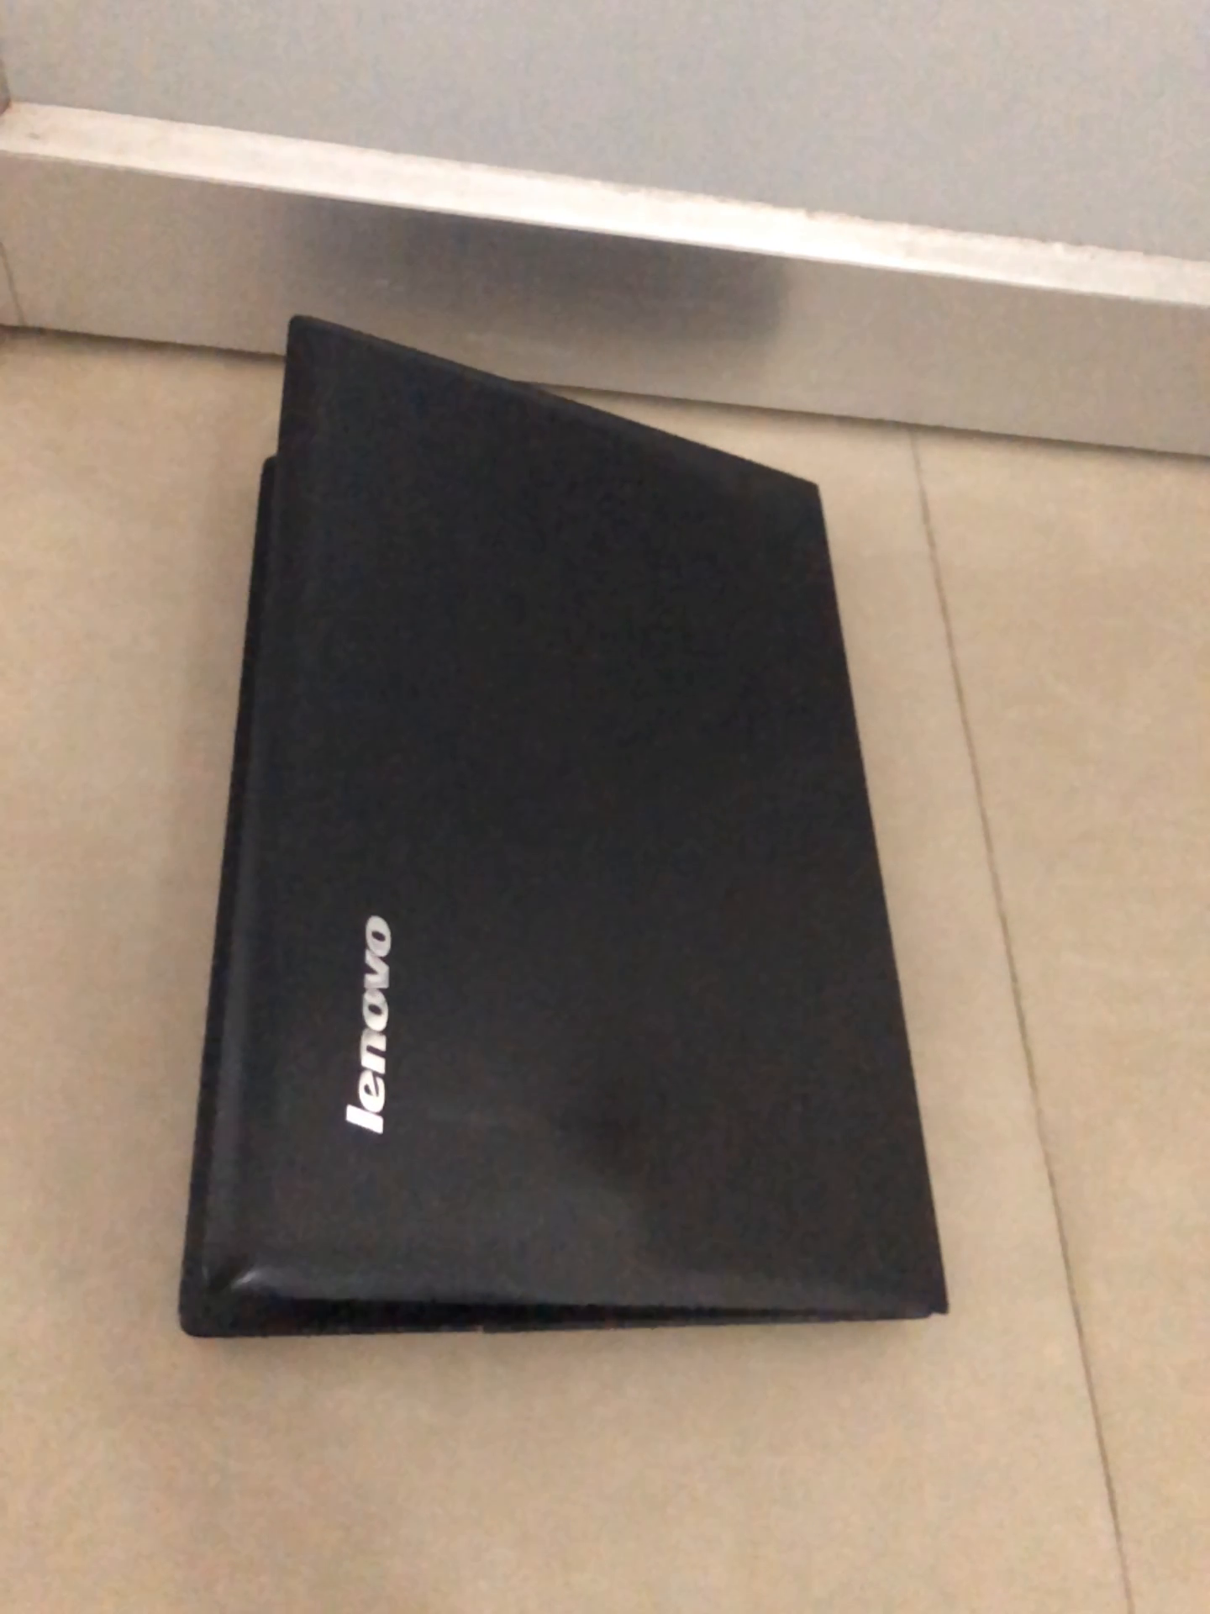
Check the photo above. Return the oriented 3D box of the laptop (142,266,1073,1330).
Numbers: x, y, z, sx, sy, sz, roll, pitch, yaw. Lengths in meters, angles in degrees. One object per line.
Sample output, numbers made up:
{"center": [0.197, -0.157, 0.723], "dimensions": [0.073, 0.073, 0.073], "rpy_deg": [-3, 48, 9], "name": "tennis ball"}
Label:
{"center": [-0.008, -0.019, 0.492], "dimensions": [0.257, 0.097, 0.368], "rpy_deg": [2, 61, -11], "name": "laptop"}
